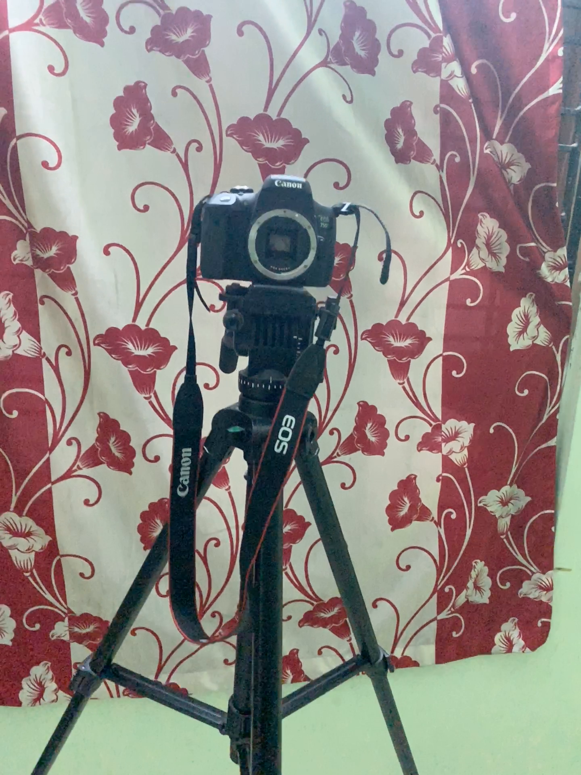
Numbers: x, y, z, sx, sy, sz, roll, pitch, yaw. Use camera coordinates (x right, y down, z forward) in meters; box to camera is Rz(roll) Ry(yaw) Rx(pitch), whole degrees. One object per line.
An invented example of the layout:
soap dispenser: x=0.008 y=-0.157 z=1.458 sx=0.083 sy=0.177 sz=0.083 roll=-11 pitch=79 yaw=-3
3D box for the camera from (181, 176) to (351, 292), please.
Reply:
camera: x=-0.026 y=-0.139 z=0.552 sx=0.142 sy=0.088 sz=0.085 roll=2 pitch=12 yaw=-6
